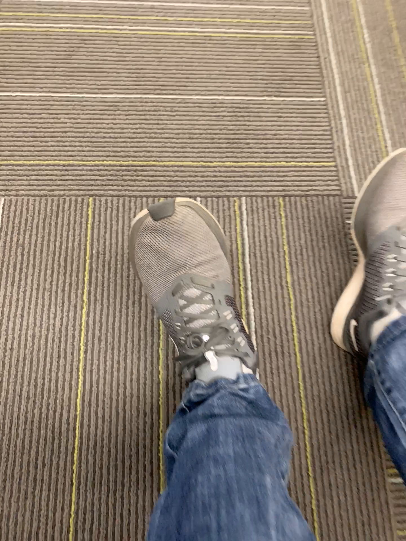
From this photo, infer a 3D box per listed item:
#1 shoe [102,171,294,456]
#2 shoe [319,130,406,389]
[{"bbox_3d":[0.005,0.063,0.468,0.119,0.294,0.122,-20,39,-2],"label":"shoe"},{"bbox_3d":[0.249,-0.015,0.519,0.119,0.122,0.294,3,108,-8],"label":"shoe"}]
